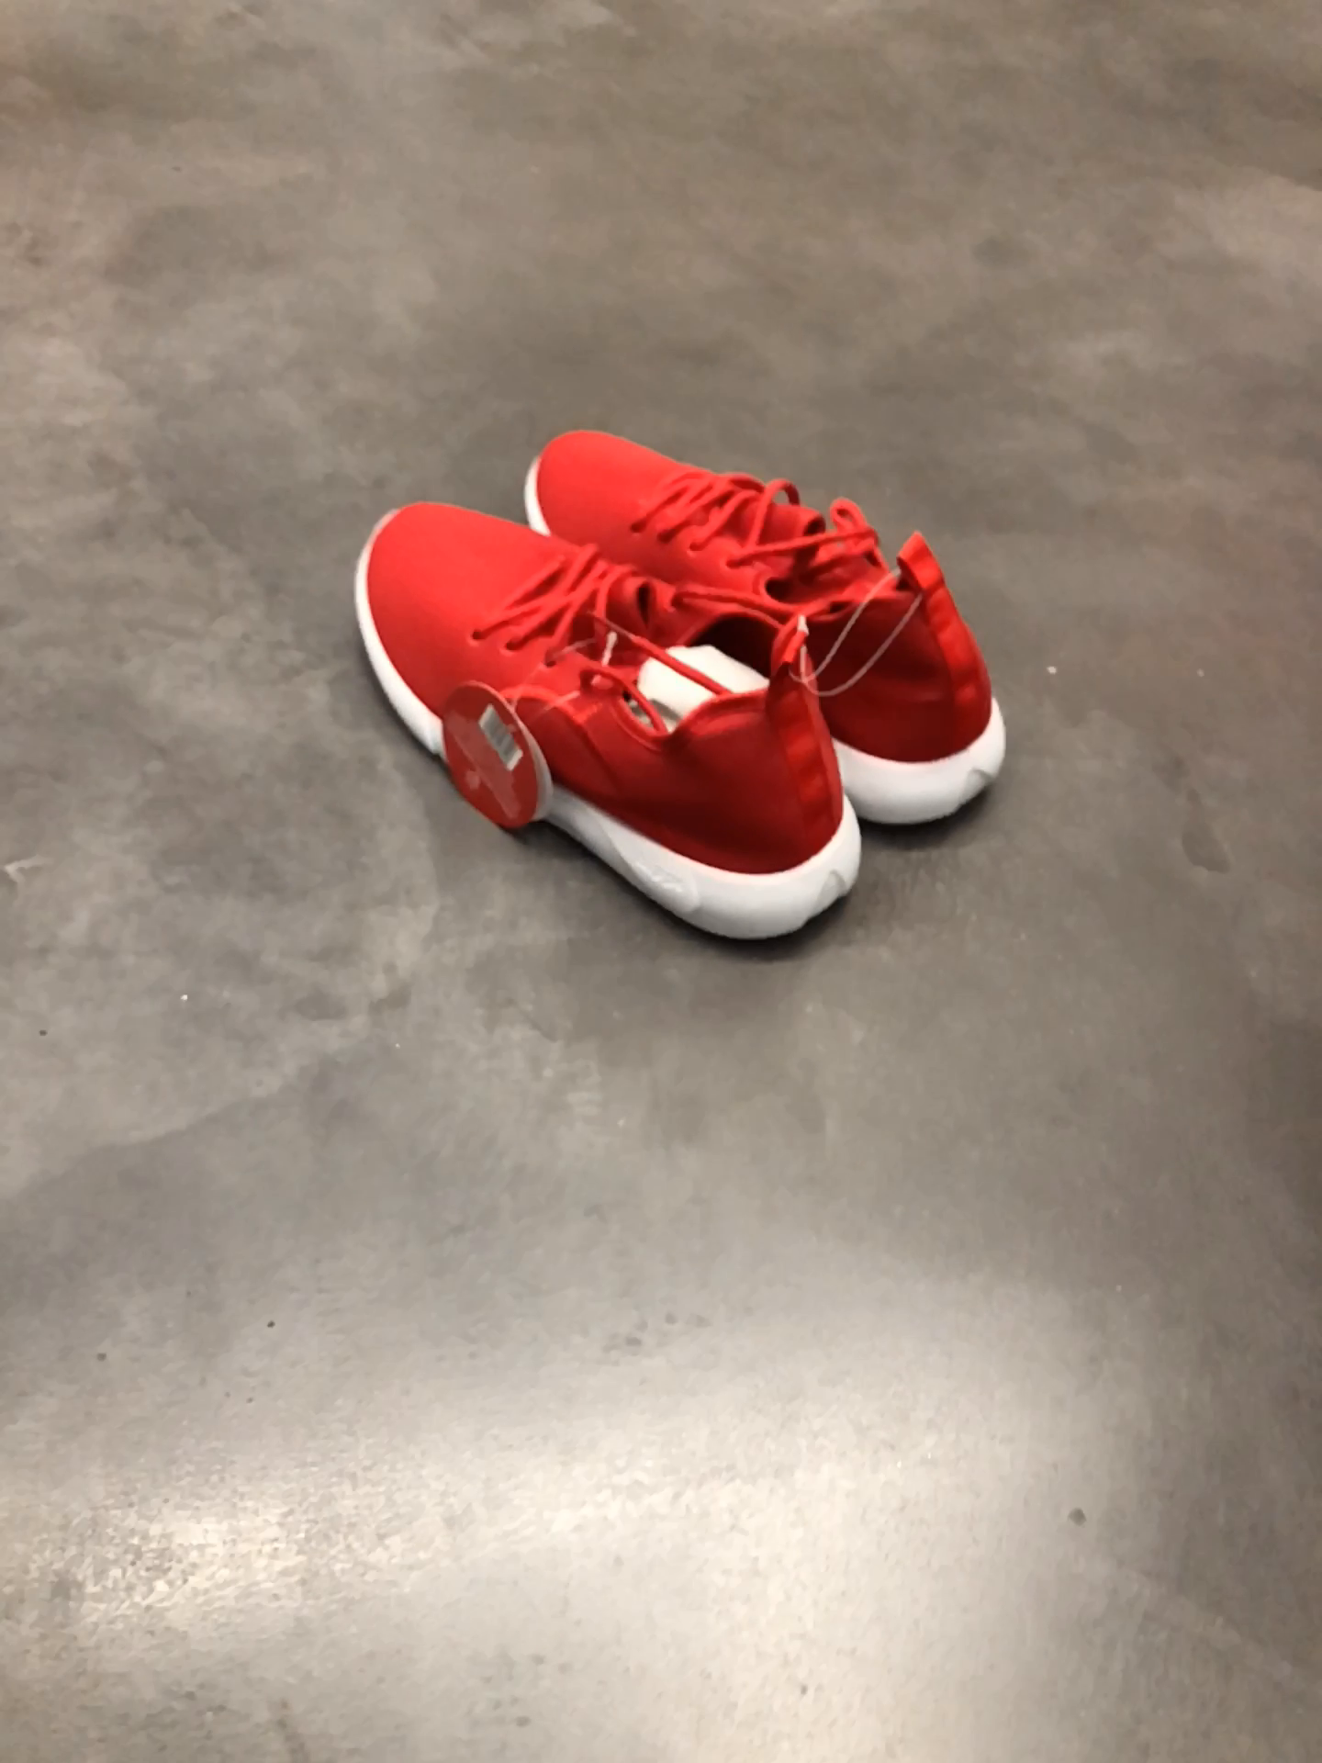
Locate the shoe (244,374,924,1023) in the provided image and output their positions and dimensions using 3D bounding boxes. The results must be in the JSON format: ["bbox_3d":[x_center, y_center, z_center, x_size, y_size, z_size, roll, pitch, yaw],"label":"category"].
[{"bbox_3d":[-0.036,-0.079,0.560,0.100,0.099,0.250,-36,60,-27],"label":"shoe"}]

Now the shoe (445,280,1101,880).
[{"bbox_3d":[0.034,-0.130,0.593,0.100,0.099,0.250,-35,60,-26],"label":"shoe"}]
